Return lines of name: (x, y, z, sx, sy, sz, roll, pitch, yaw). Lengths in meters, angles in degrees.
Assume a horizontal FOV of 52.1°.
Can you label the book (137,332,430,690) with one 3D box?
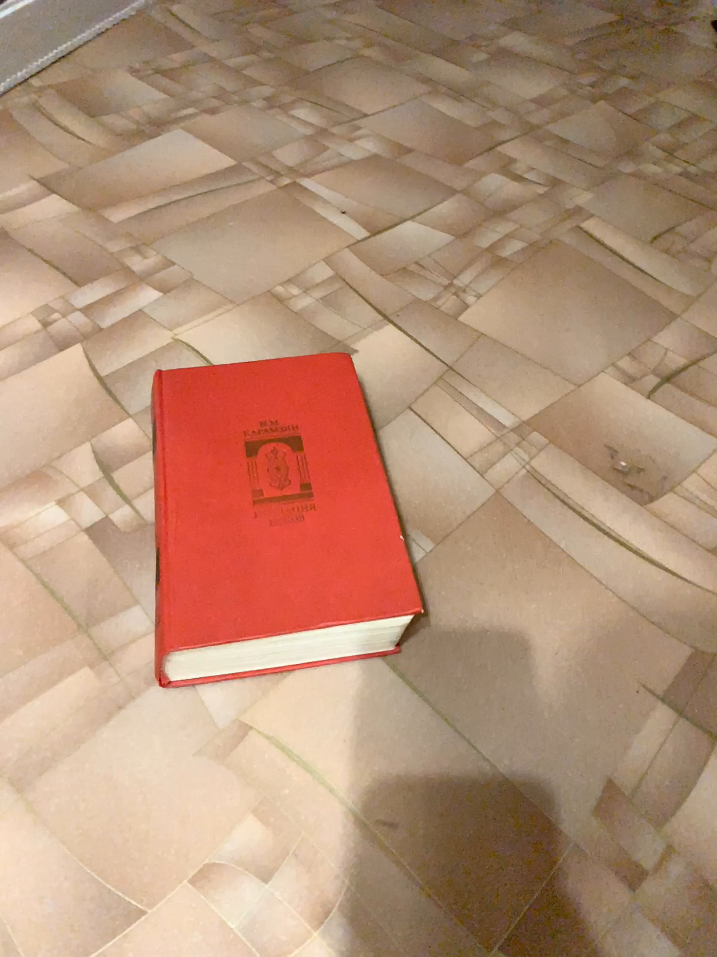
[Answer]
book: (-0.052, 0.007, 0.431, 0.140, 0.050, 0.202, -8, 51, -6)
